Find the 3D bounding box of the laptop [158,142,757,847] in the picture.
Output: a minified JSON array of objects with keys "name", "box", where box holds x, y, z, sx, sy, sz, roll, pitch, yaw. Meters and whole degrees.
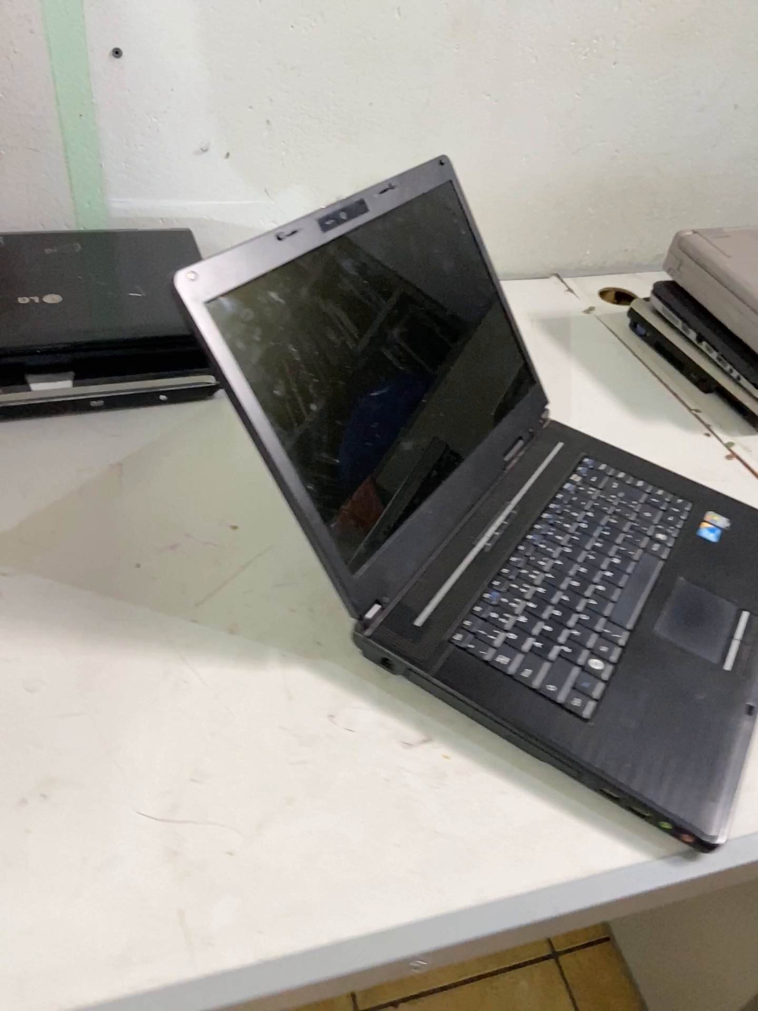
[{"name":"laptop","box":[0.131,-0.061,0.590,0.429,0.224,0.353,27,45,19]}]
